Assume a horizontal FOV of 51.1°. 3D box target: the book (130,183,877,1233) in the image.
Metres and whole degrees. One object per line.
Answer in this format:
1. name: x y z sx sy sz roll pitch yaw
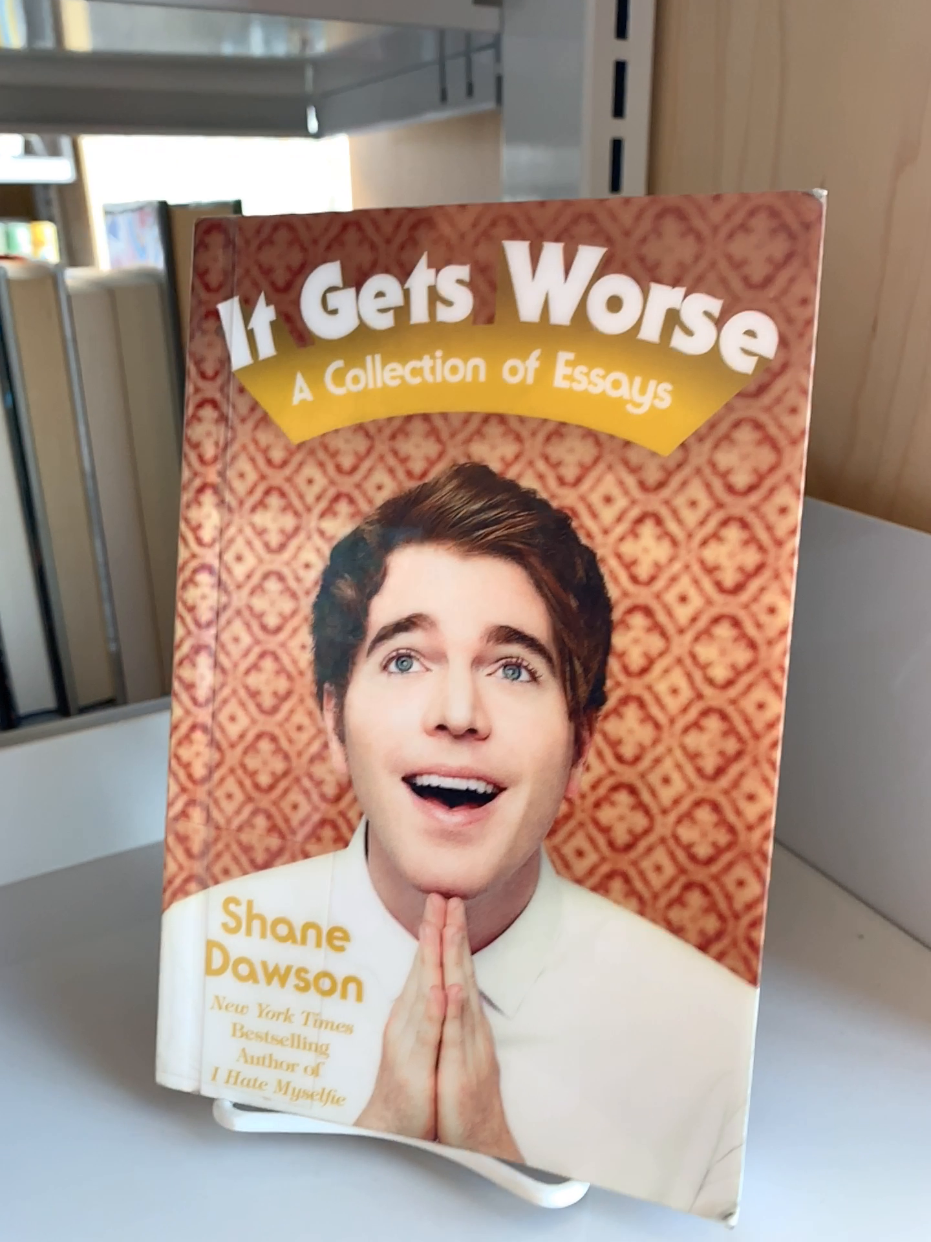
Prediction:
1. book: 0.000 0.015 0.222 0.149 0.210 0.030 5 8 14
